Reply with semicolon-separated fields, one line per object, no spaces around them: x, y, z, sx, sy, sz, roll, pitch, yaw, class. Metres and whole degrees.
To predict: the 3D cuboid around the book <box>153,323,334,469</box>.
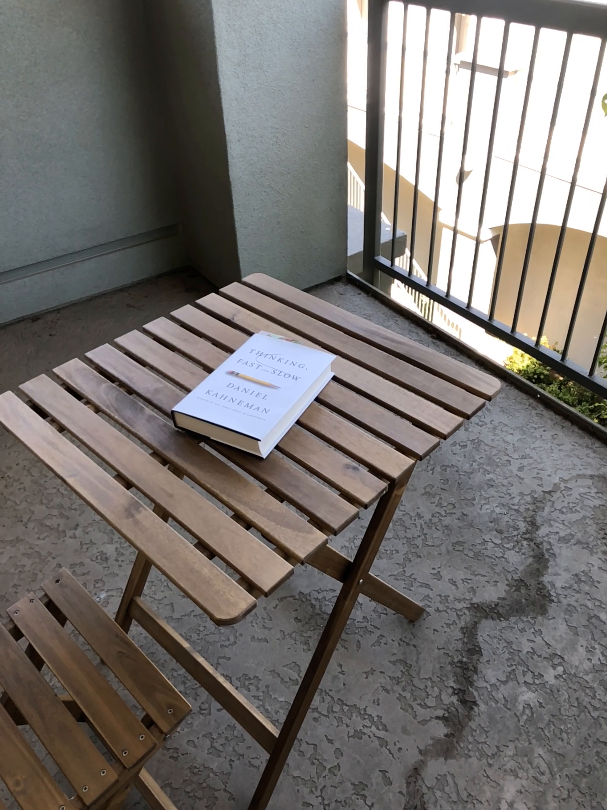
-0.086;-0.025;1.054;0.180;0.060;0.241;17;43;23;book
